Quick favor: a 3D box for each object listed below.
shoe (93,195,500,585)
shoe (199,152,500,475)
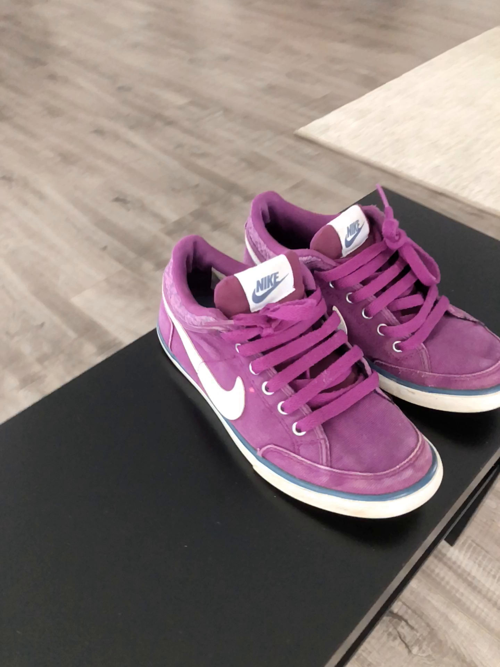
[{"bbox_3d":[0.018,0.019,0.356,0.100,0.100,0.241,-35,54,-30],"label":"shoe"},{"bbox_3d":[0.085,-0.031,0.414,0.100,0.100,0.251,-35,54,-30],"label":"shoe"}]
